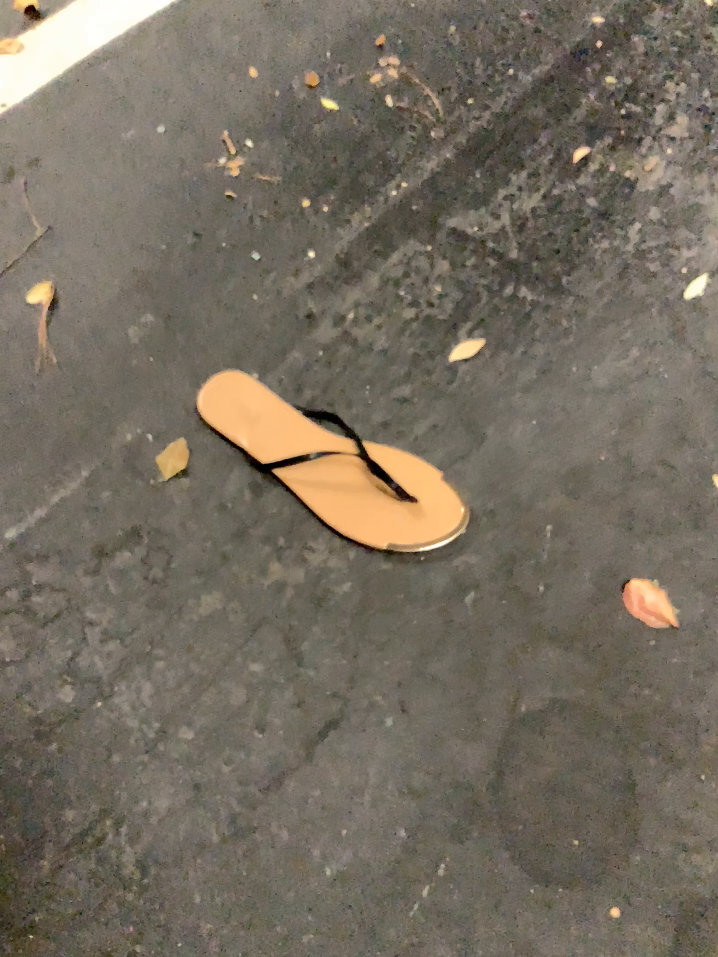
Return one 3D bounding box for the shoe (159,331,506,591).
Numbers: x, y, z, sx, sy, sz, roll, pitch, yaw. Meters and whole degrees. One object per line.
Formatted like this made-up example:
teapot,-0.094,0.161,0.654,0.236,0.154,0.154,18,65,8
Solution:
shoe,-0.026,-0.022,0.715,0.290,0.030,0.110,28,71,14
